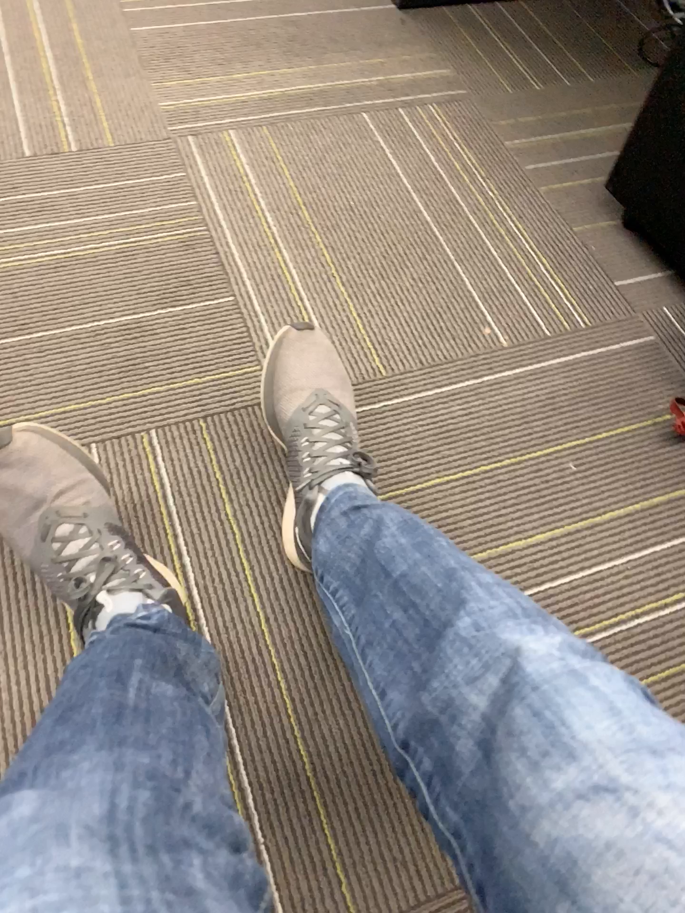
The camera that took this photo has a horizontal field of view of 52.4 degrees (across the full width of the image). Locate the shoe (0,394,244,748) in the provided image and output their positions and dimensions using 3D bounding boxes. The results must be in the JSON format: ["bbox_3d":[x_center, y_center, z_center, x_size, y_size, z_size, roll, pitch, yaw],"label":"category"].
[{"bbox_3d":[-0.228,0.109,0.645,0.119,0.293,0.122,-35,33,-16],"label":"shoe"}]

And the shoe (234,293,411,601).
[{"bbox_3d":[-0.024,-0.014,0.755,0.119,0.122,0.294,-10,96,-18],"label":"shoe"}]
